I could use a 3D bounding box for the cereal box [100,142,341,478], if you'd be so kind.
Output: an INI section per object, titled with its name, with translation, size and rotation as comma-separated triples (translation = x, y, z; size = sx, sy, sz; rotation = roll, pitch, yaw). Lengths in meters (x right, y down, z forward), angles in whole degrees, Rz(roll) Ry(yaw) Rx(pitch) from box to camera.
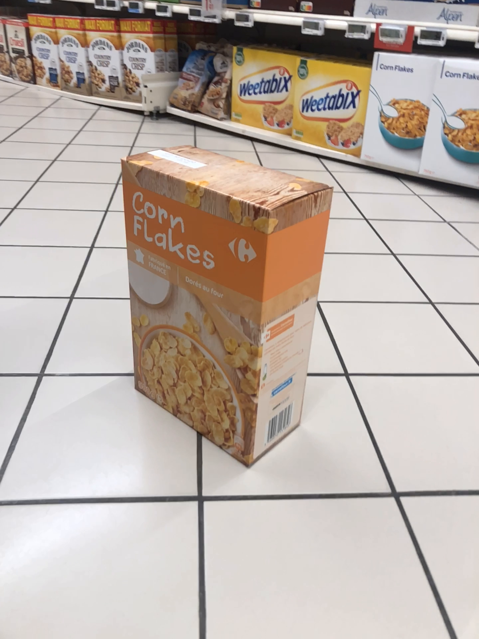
[cereal box]
translation = -0.029, -0.017, 0.551
size = 0.200, 0.278, 0.111
rotation = 26, 37, 33
